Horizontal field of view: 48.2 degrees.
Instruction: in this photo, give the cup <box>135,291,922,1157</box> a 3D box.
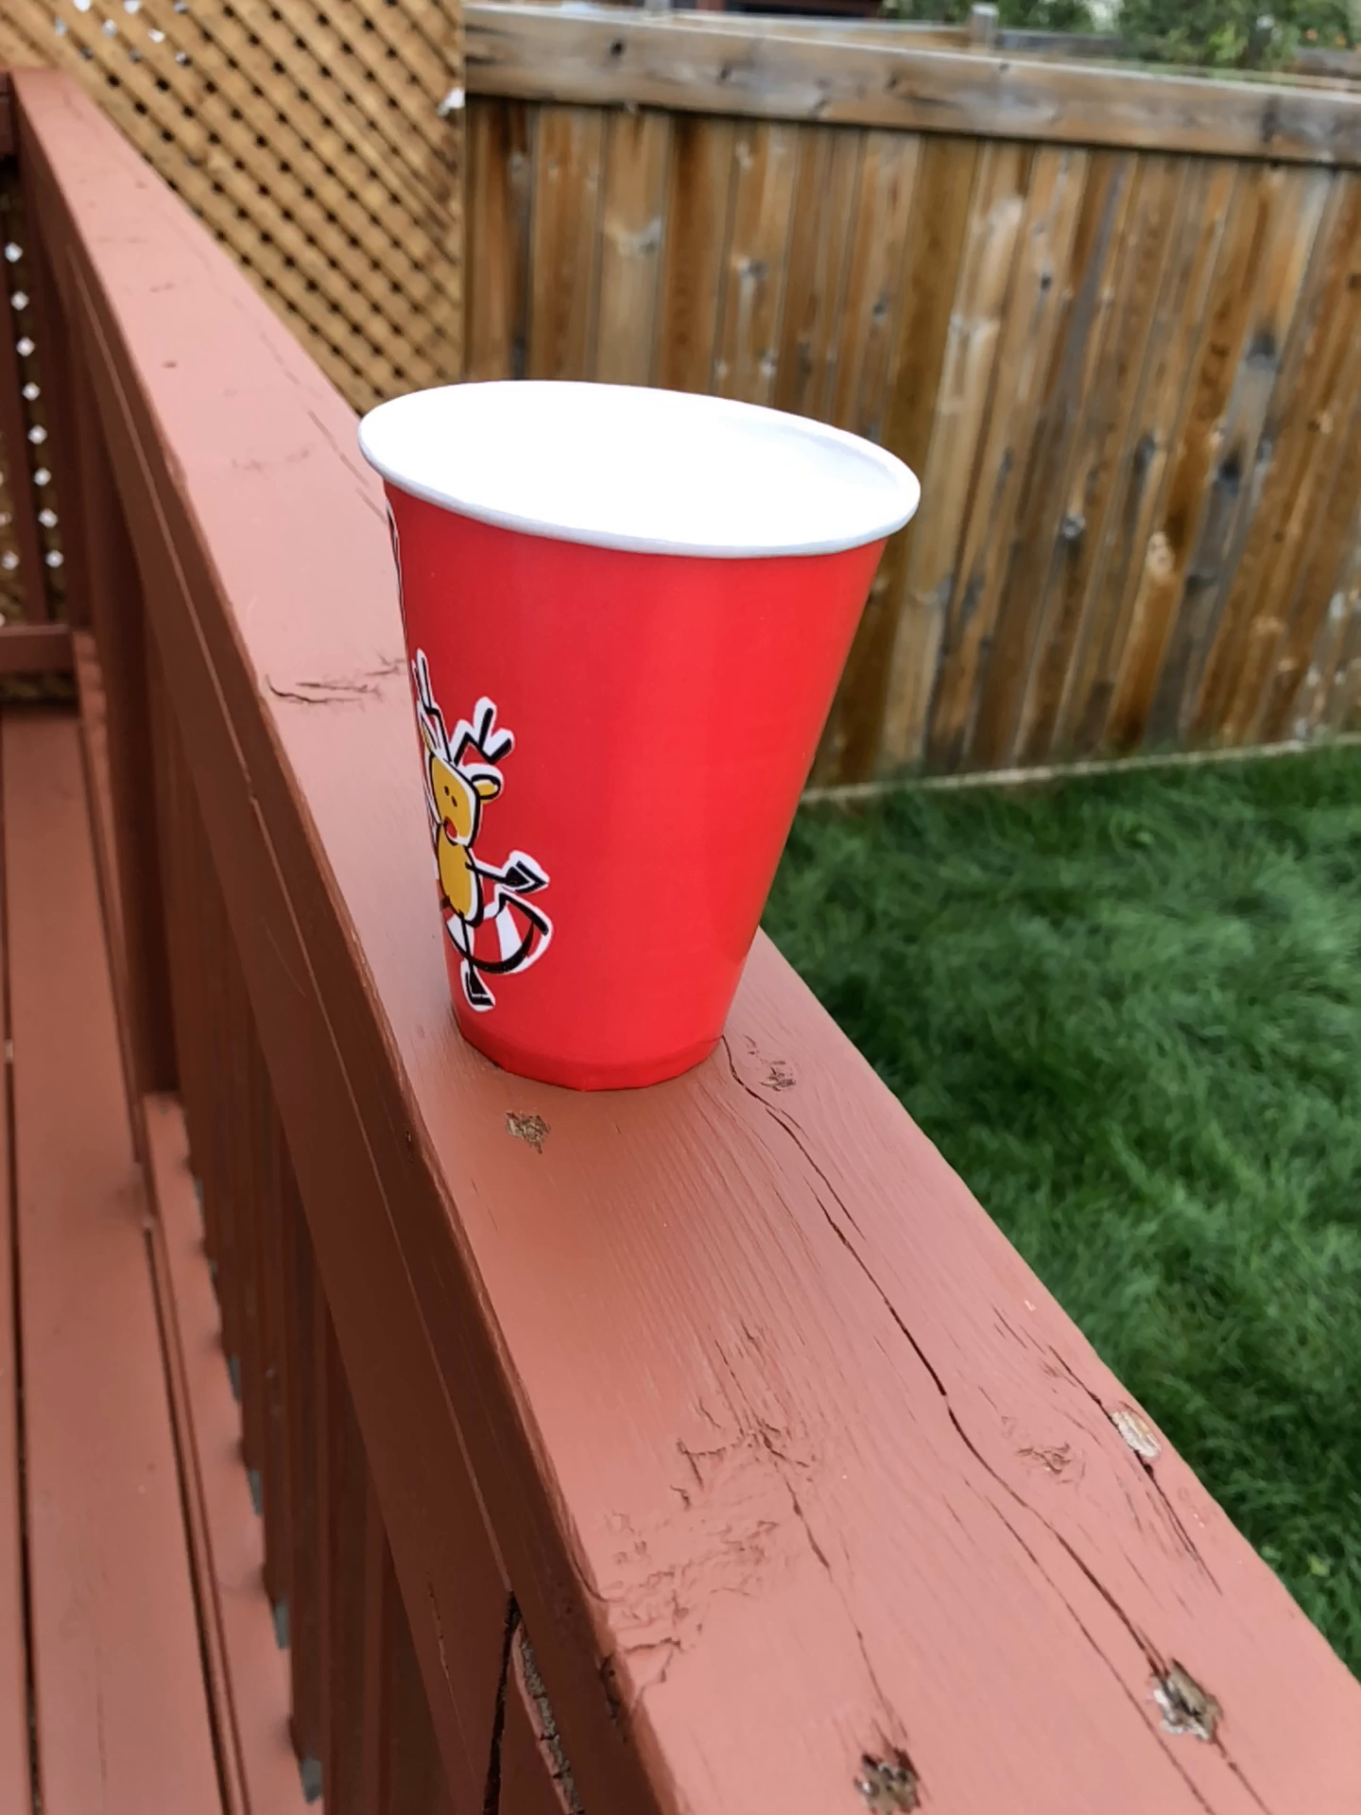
[{"bbox_3d":[-0.027,-0.036,0.238,0.080,0.100,0.080,4,30,-2],"label":"cup"}]
